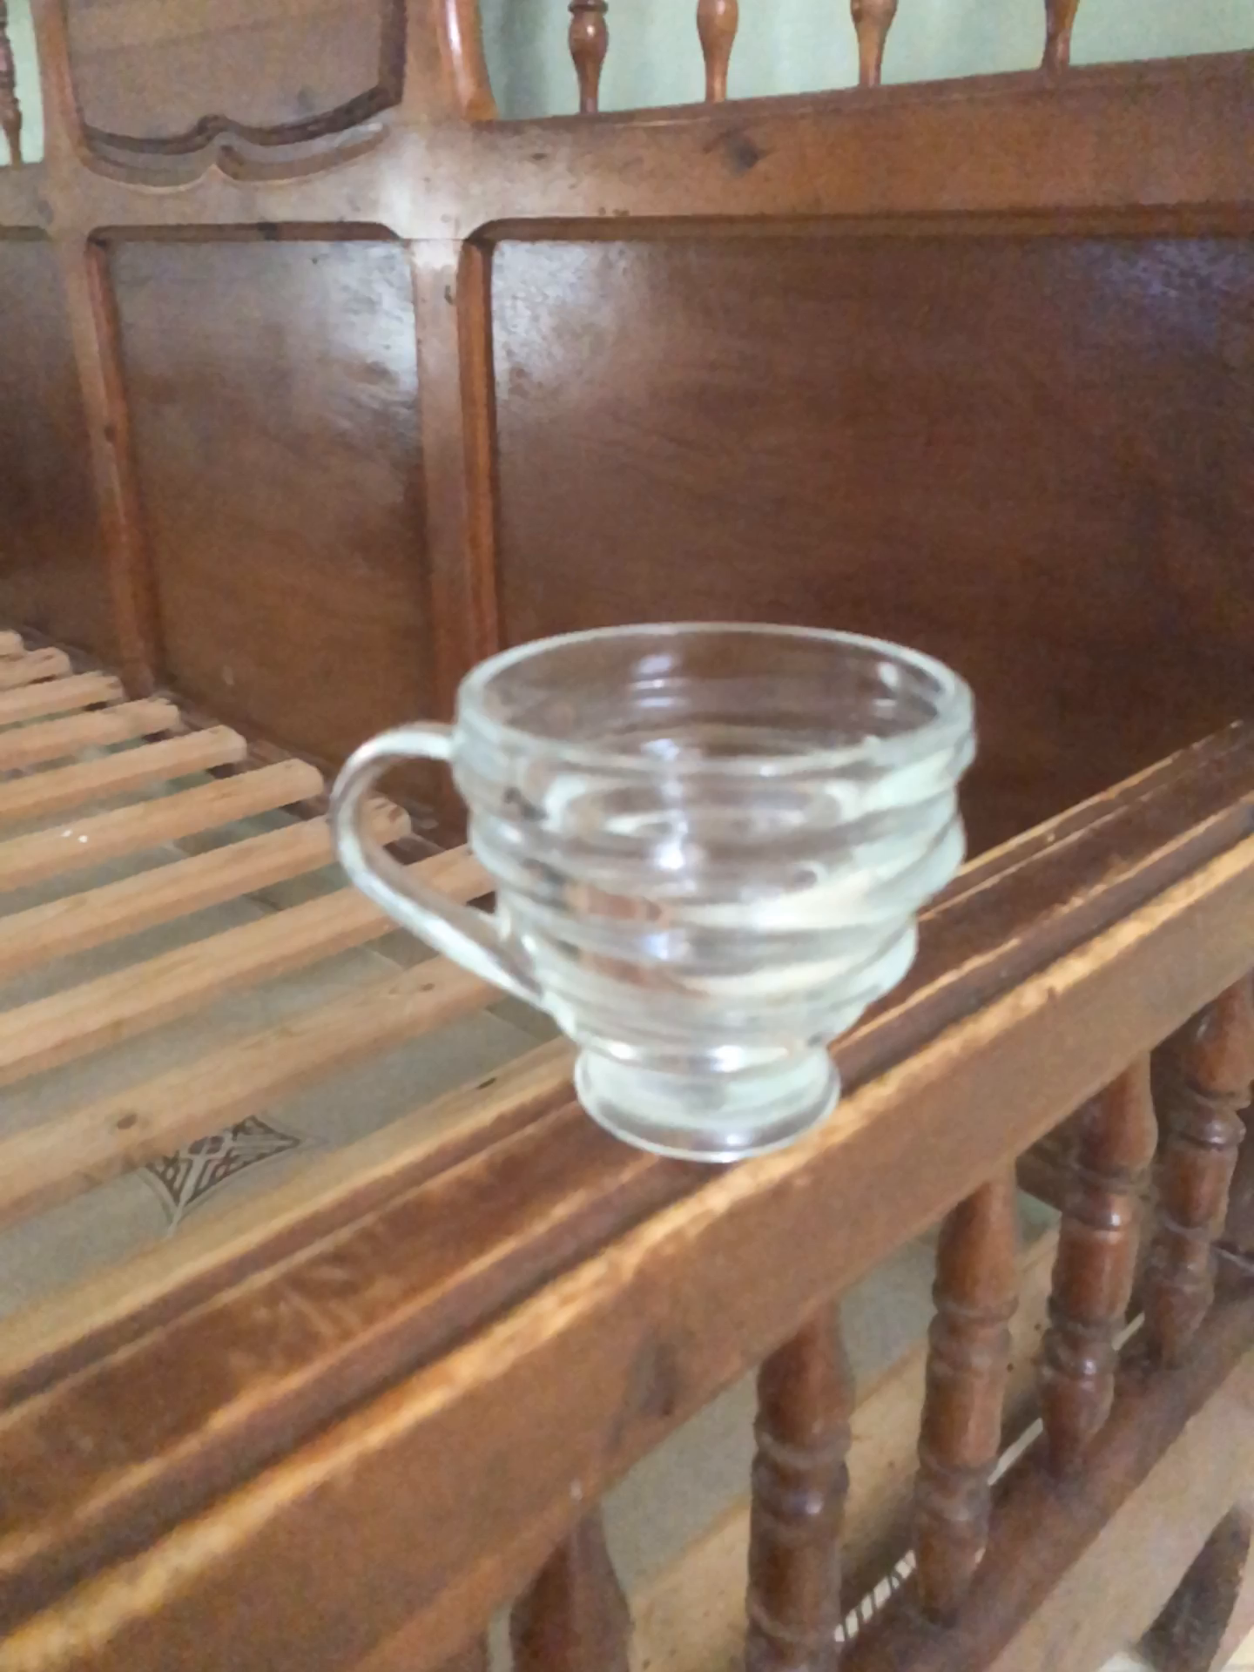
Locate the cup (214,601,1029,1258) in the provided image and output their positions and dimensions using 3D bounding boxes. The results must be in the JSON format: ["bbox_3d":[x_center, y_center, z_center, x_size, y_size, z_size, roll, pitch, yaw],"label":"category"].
[{"bbox_3d":[0.004,0.006,0.224,0.106,0.065,0.076,8,24,20],"label":"cup"}]
